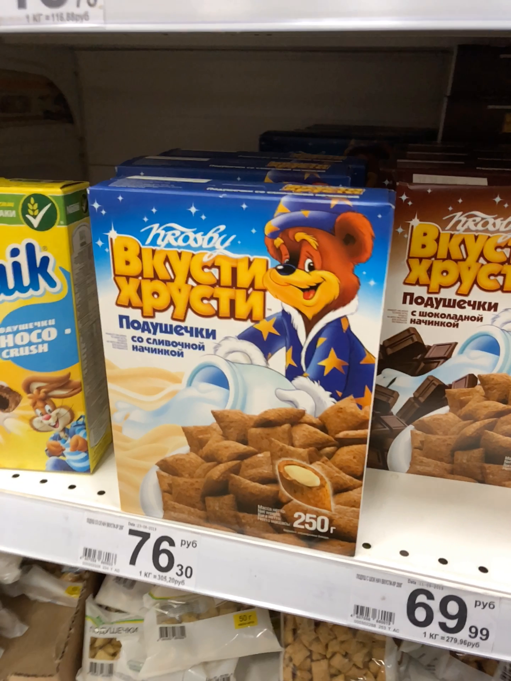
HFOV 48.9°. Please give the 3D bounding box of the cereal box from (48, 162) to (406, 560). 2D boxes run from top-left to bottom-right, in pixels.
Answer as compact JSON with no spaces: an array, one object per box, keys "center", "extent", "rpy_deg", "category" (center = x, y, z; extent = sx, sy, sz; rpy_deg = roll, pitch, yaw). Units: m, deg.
[{"center":[-0.017,0.014,0.355],"extent":[0.190,0.229,0.050],"rpy_deg":[7,24,12],"category":"cereal box"}]
